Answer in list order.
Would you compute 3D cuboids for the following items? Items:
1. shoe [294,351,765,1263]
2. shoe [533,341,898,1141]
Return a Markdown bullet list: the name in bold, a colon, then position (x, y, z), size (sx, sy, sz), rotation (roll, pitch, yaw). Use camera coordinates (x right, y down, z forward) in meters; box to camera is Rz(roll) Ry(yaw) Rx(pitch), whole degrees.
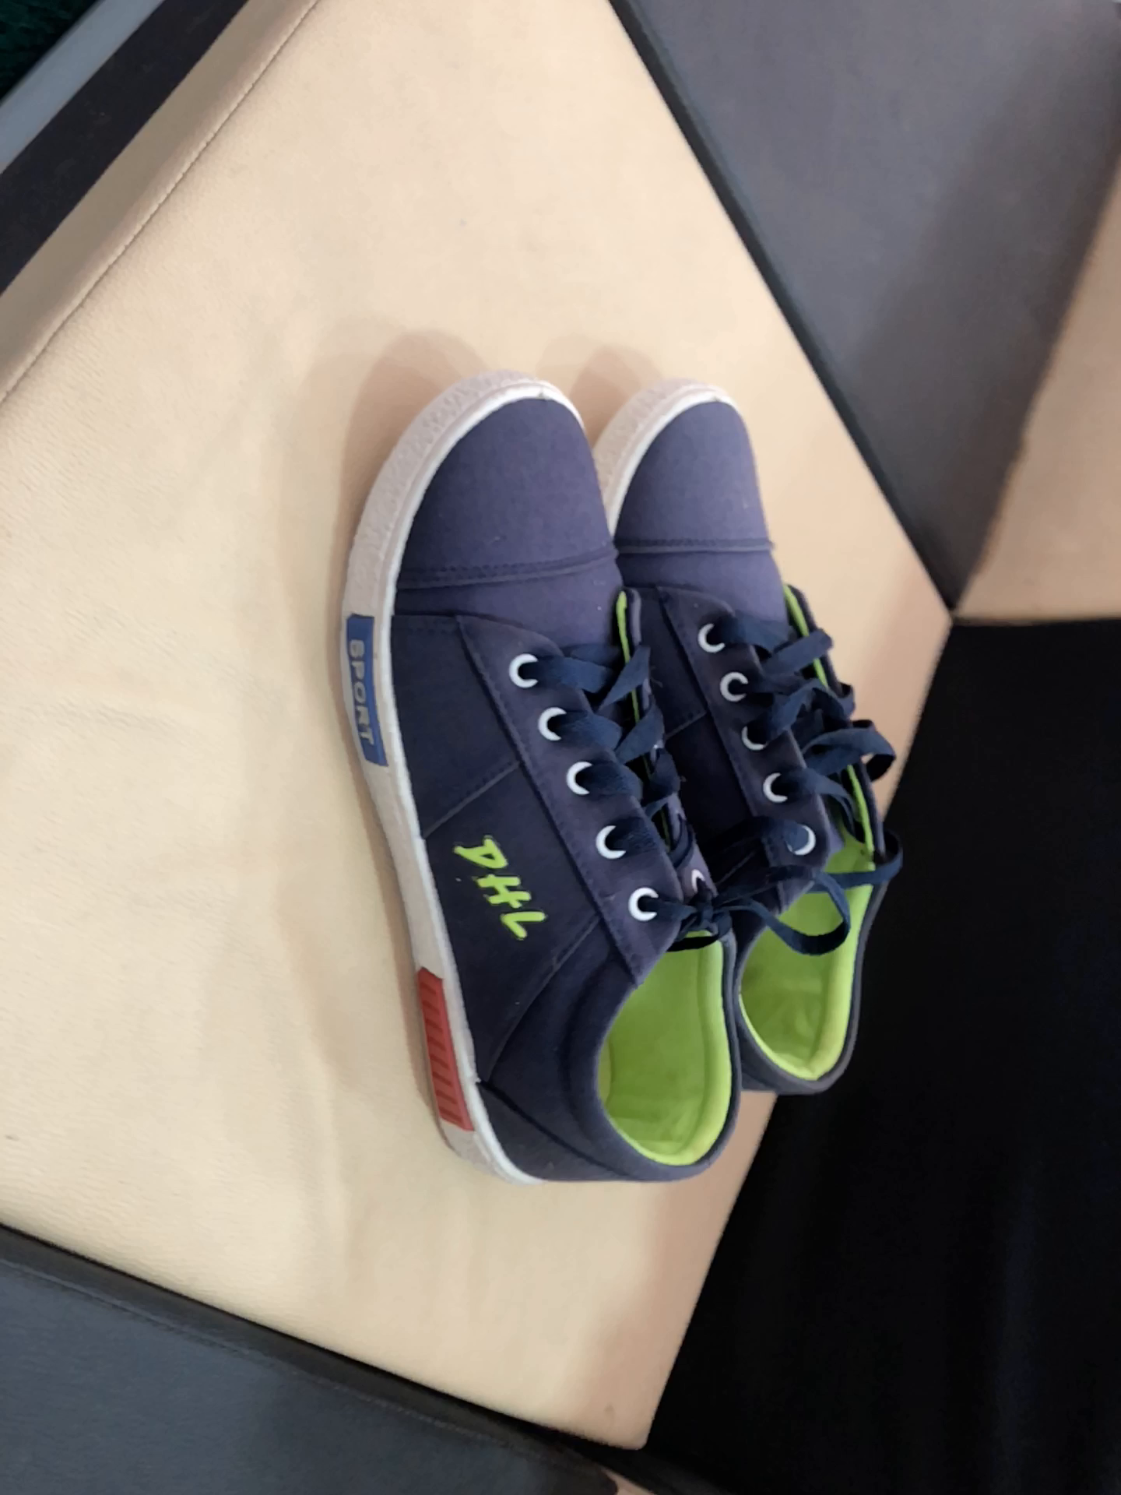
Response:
- **shoe**: position (-0.005, 0.014, 0.406), size (0.091, 0.089, 0.260), rotation (-18, 107, -45)
- **shoe**: position (0.063, -0.005, 0.470), size (0.091, 0.079, 0.270), rotation (-18, 107, -45)
